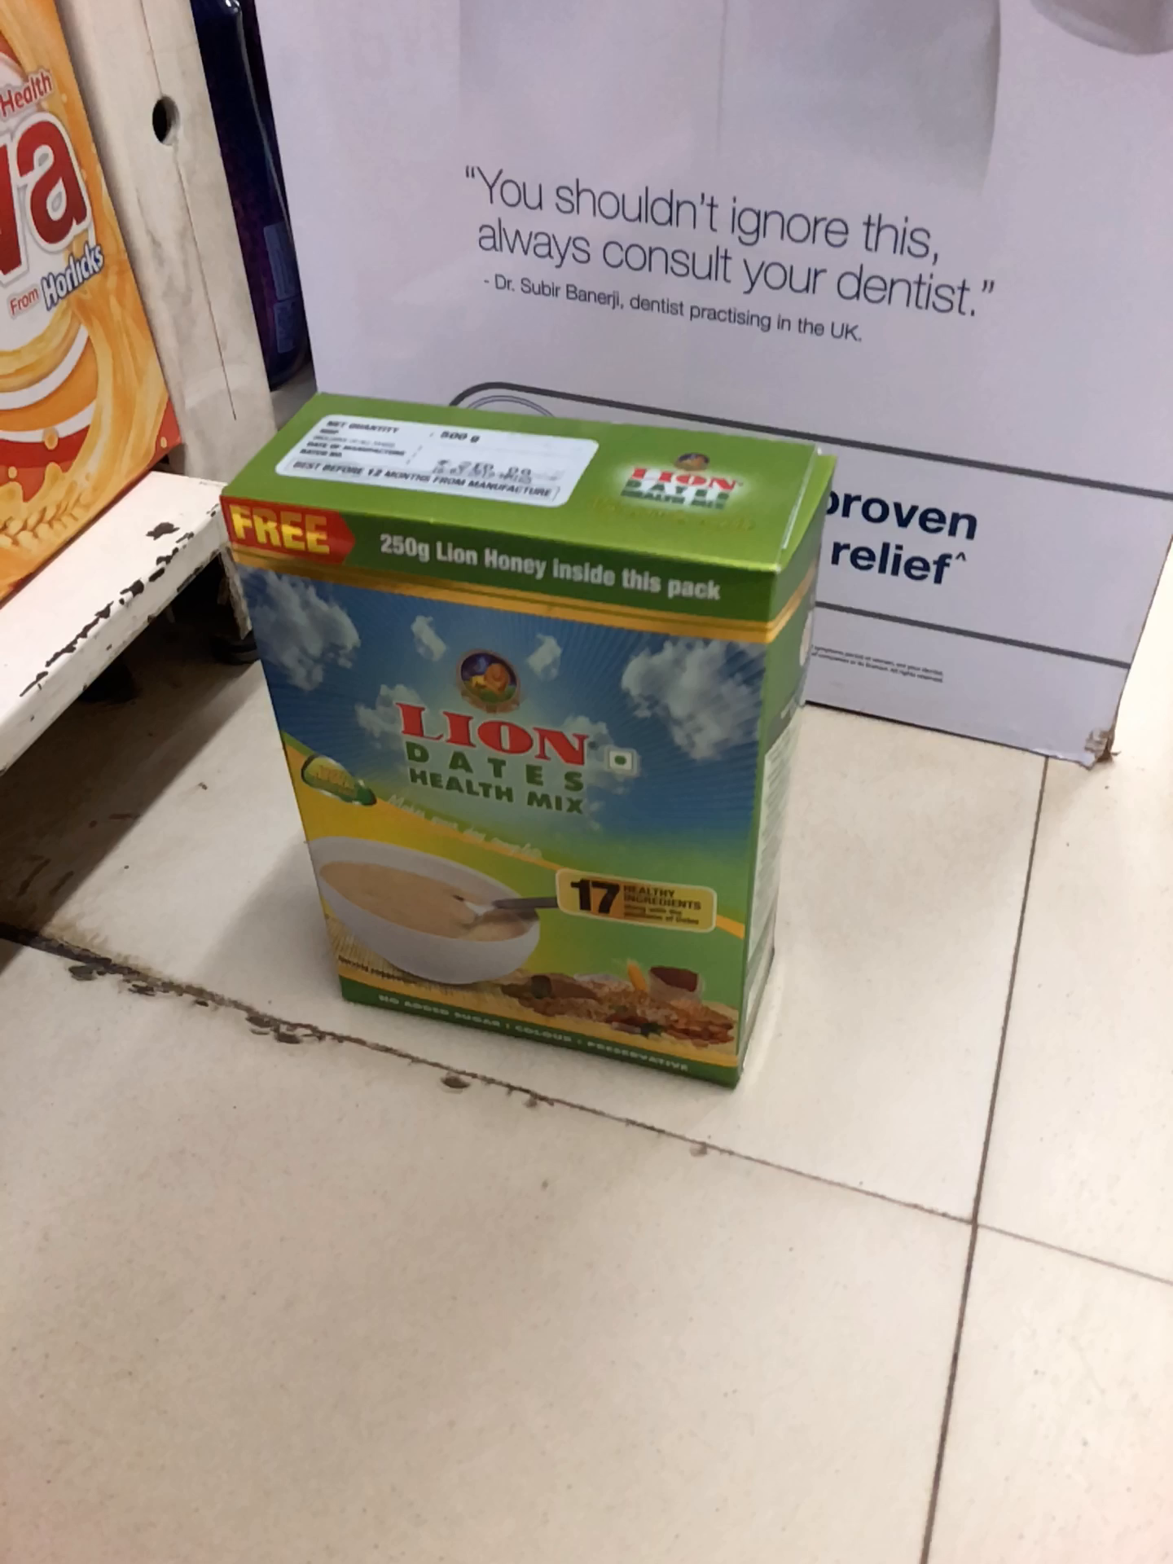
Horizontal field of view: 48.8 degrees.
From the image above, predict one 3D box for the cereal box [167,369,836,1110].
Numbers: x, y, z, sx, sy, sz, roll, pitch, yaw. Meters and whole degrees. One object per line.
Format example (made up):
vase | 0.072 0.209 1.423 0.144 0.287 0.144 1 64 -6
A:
cereal box | -0.015 -0.007 0.359 0.140 0.179 0.070 10 42 14
